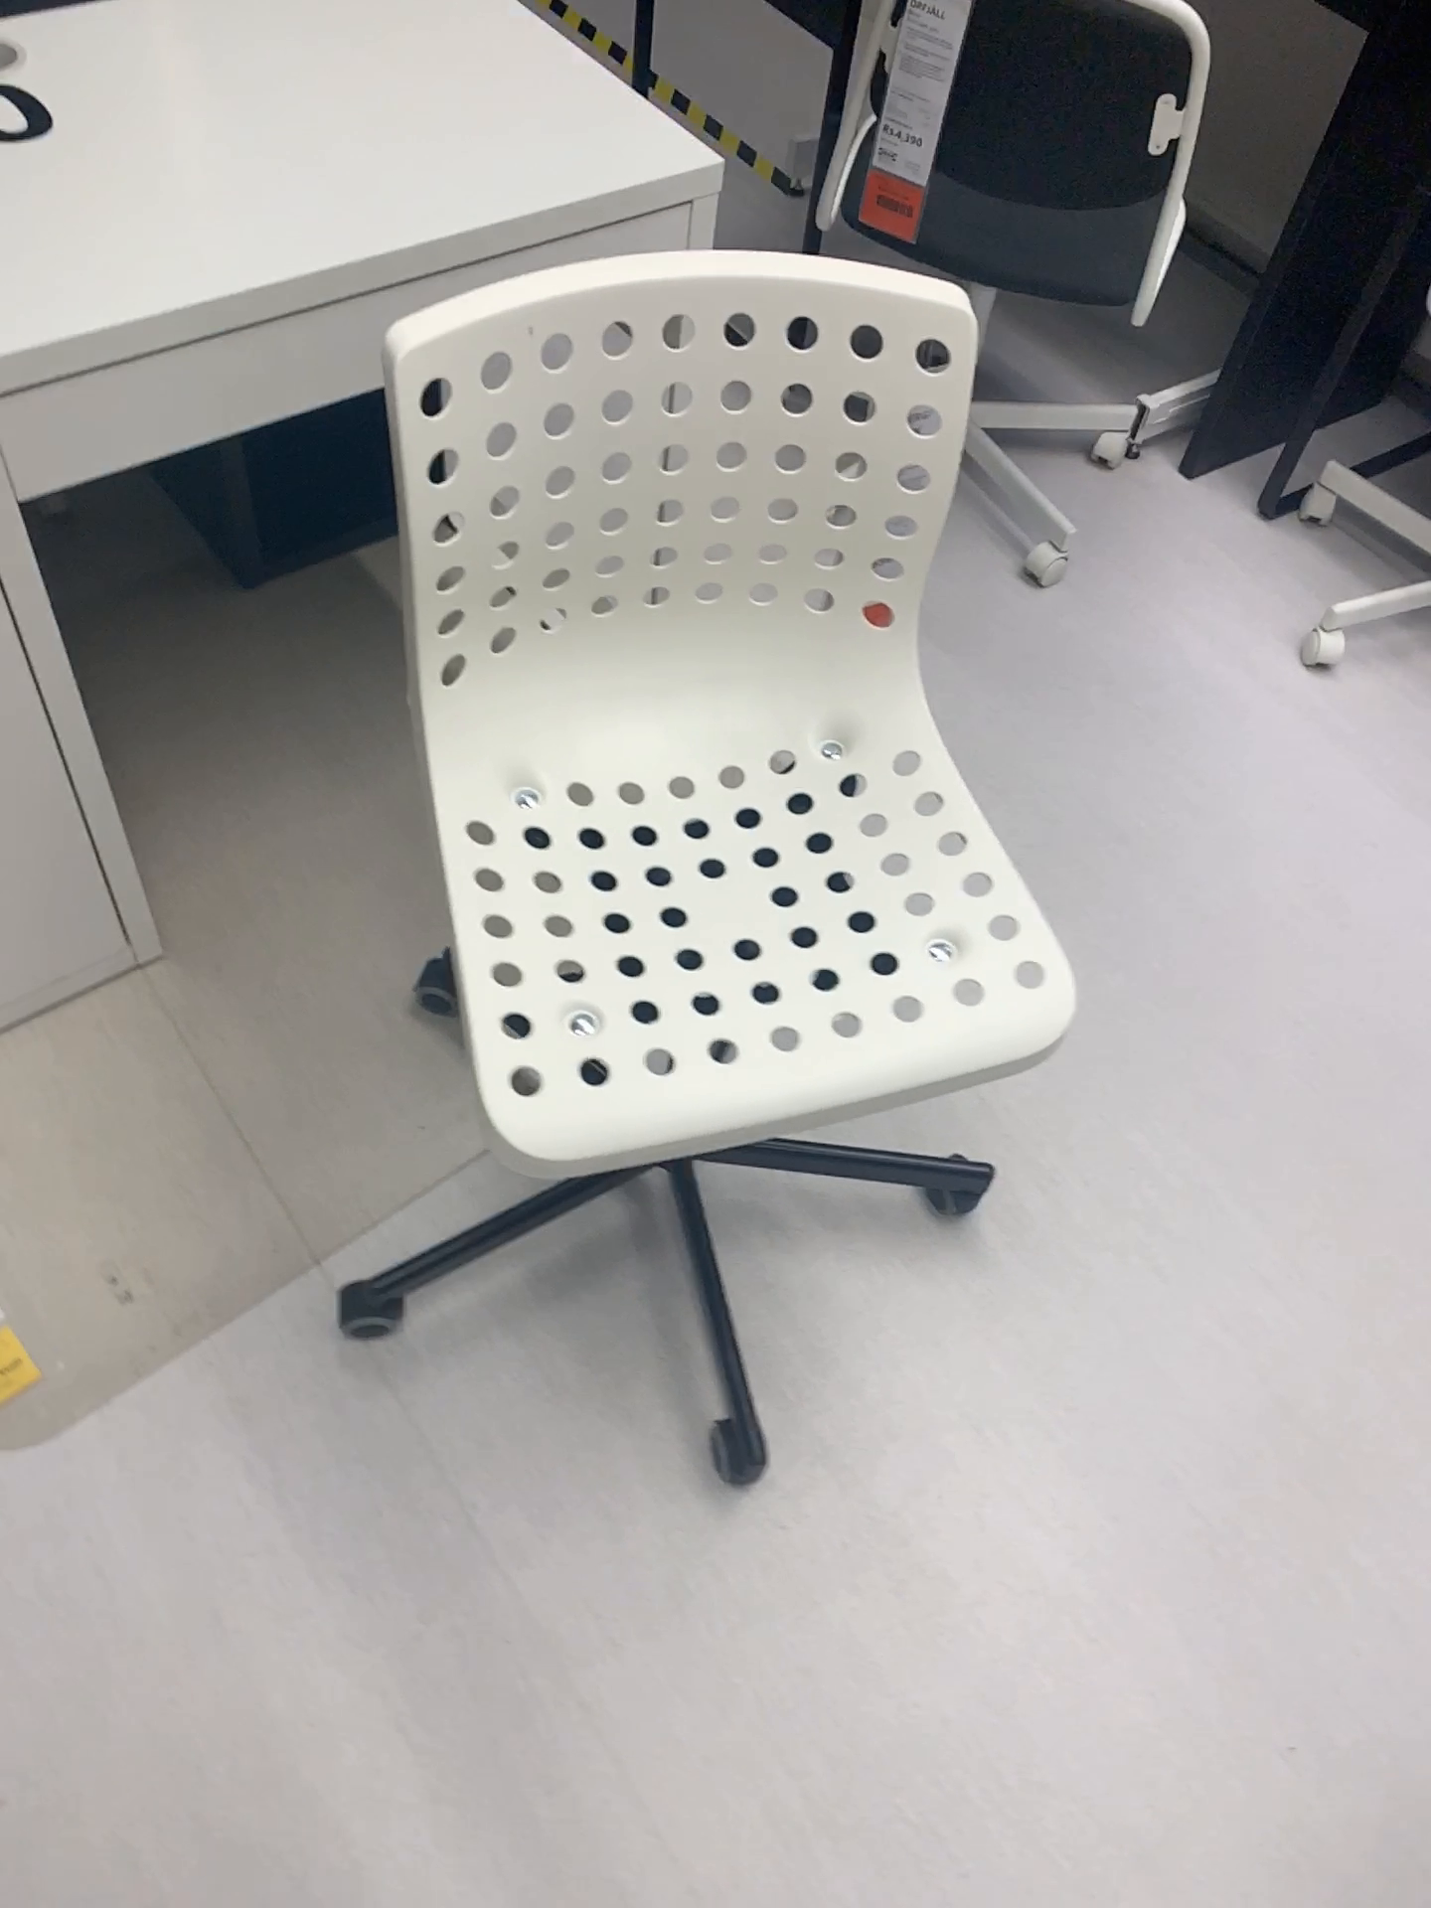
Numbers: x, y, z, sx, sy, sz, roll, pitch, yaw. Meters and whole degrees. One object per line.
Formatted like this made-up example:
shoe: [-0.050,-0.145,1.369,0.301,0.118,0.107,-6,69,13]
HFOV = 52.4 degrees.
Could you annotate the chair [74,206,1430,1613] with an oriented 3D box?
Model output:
chair: [-0.022,-0.014,1.176,0.680,0.788,0.671,-13,57,-17]
